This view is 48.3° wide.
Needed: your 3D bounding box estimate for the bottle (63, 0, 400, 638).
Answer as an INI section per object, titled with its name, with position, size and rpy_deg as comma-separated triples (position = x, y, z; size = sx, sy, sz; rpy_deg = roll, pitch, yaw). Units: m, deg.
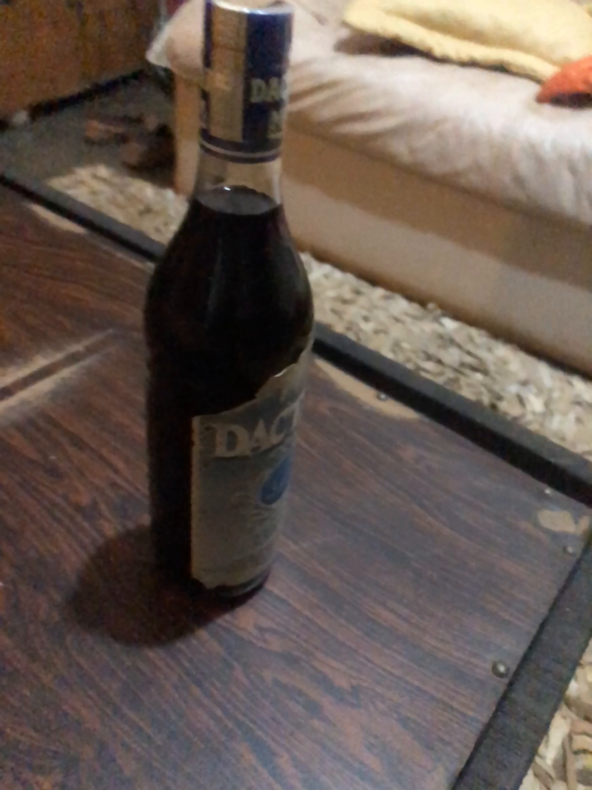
[bottle]
position = -0.031, -0.018, 0.328
size = 0.080, 0.307, 0.091
rpy_deg = 24, 42, 21
